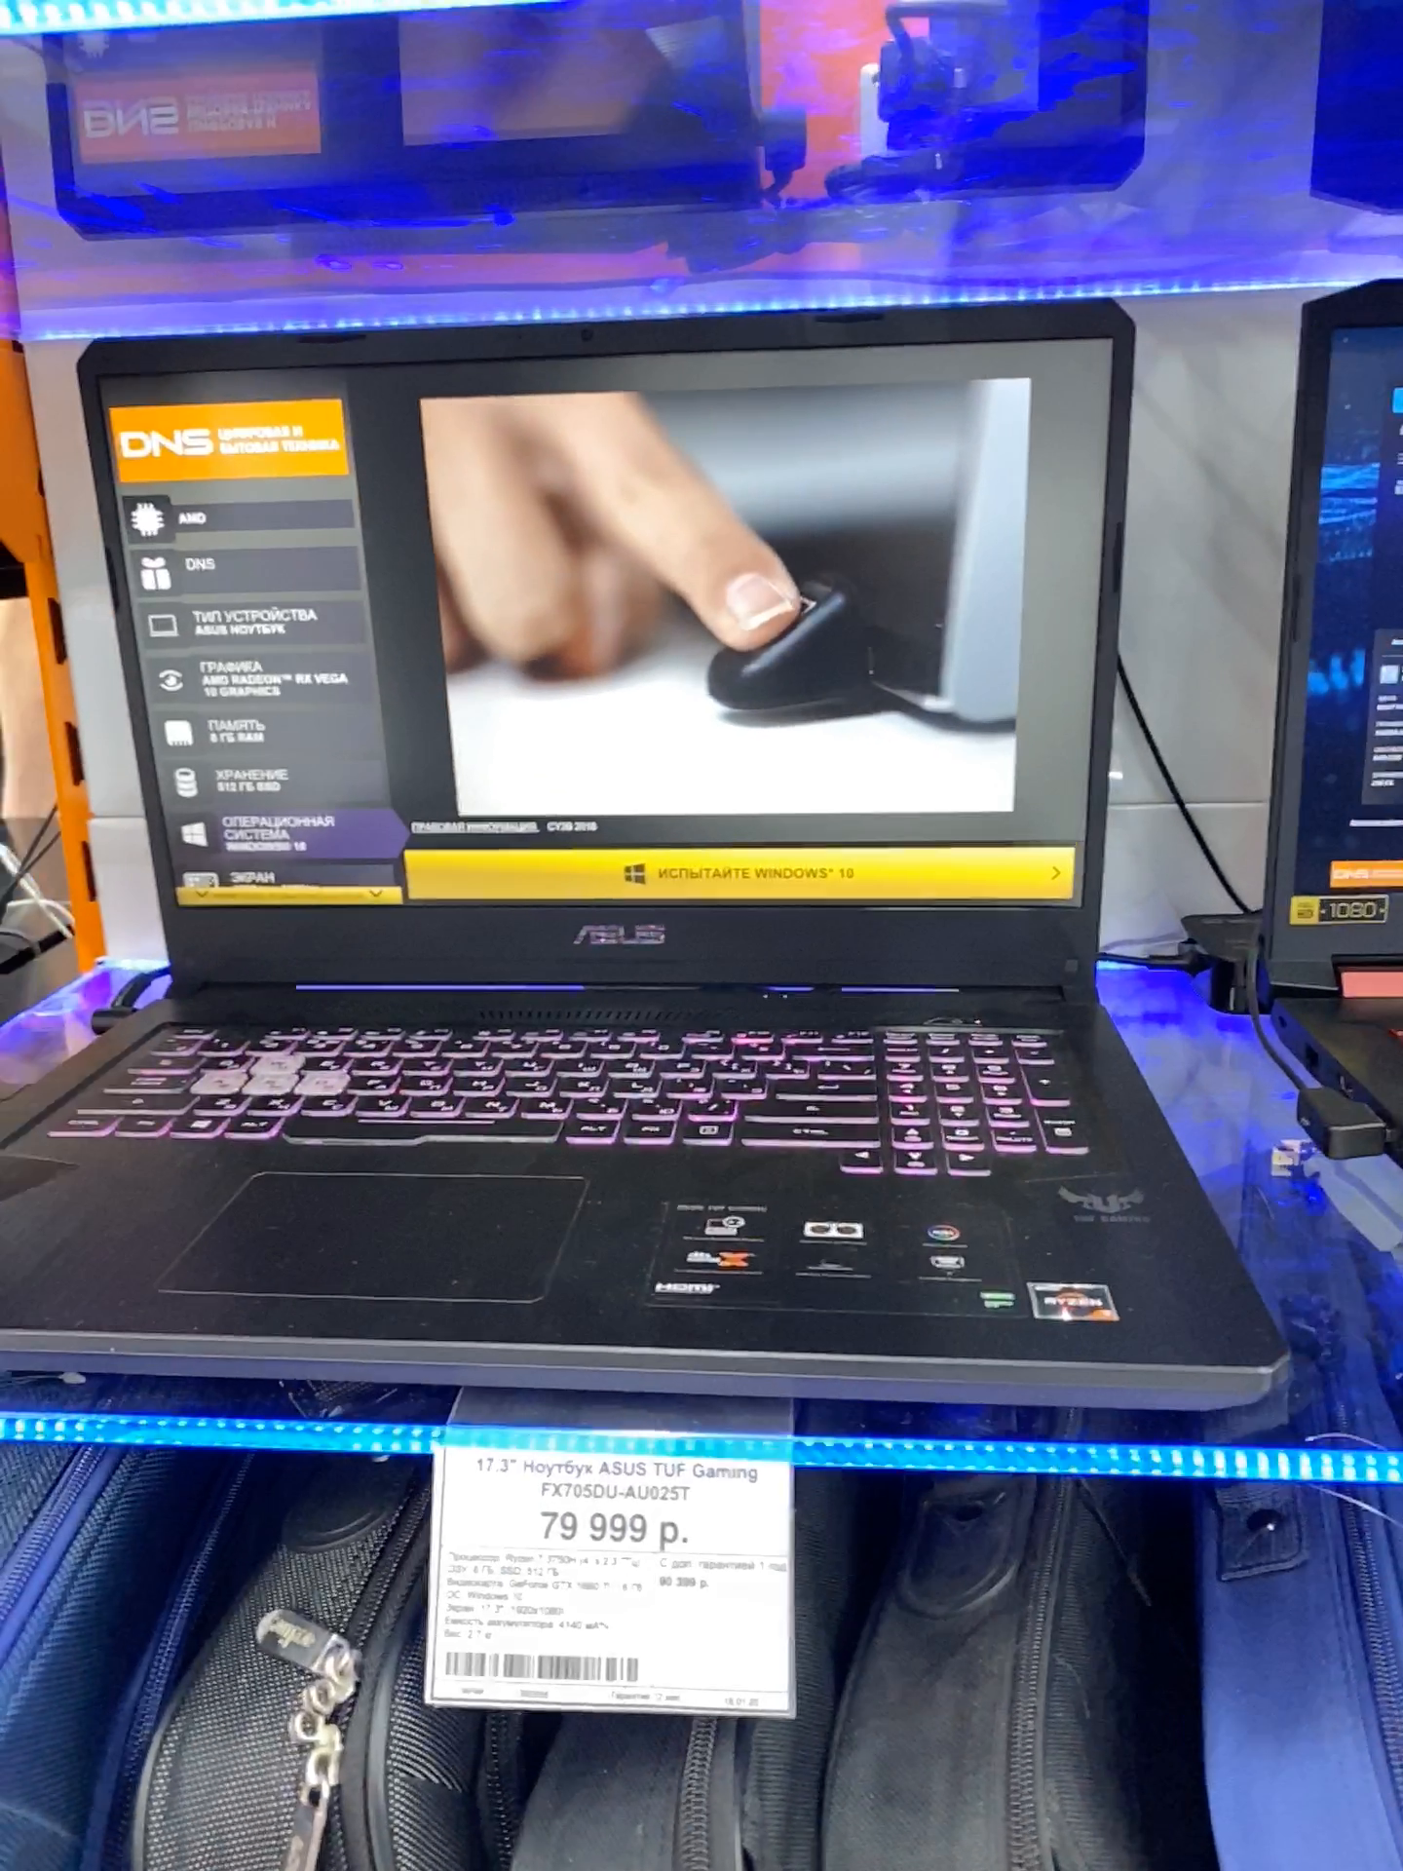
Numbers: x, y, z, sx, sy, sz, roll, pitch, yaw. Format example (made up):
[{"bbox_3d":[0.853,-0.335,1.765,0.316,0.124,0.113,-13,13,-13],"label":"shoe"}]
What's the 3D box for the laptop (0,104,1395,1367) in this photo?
[{"bbox_3d":[-0.054,-0.064,0.451,0.397,0.265,0.270,0,15,5],"label":"laptop"}]
